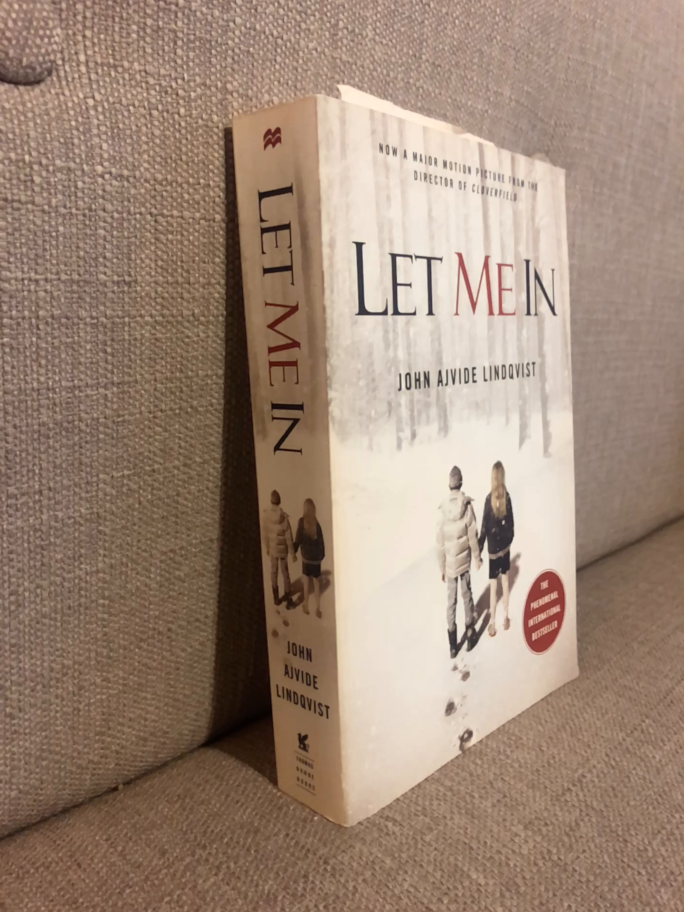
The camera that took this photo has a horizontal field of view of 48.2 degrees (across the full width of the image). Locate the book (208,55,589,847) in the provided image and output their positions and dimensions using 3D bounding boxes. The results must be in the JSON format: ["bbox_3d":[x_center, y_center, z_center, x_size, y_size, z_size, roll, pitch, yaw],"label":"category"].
[{"bbox_3d":[0.032,-0.005,0.275,0.043,0.216,0.147,2,8,44],"label":"book"}]
